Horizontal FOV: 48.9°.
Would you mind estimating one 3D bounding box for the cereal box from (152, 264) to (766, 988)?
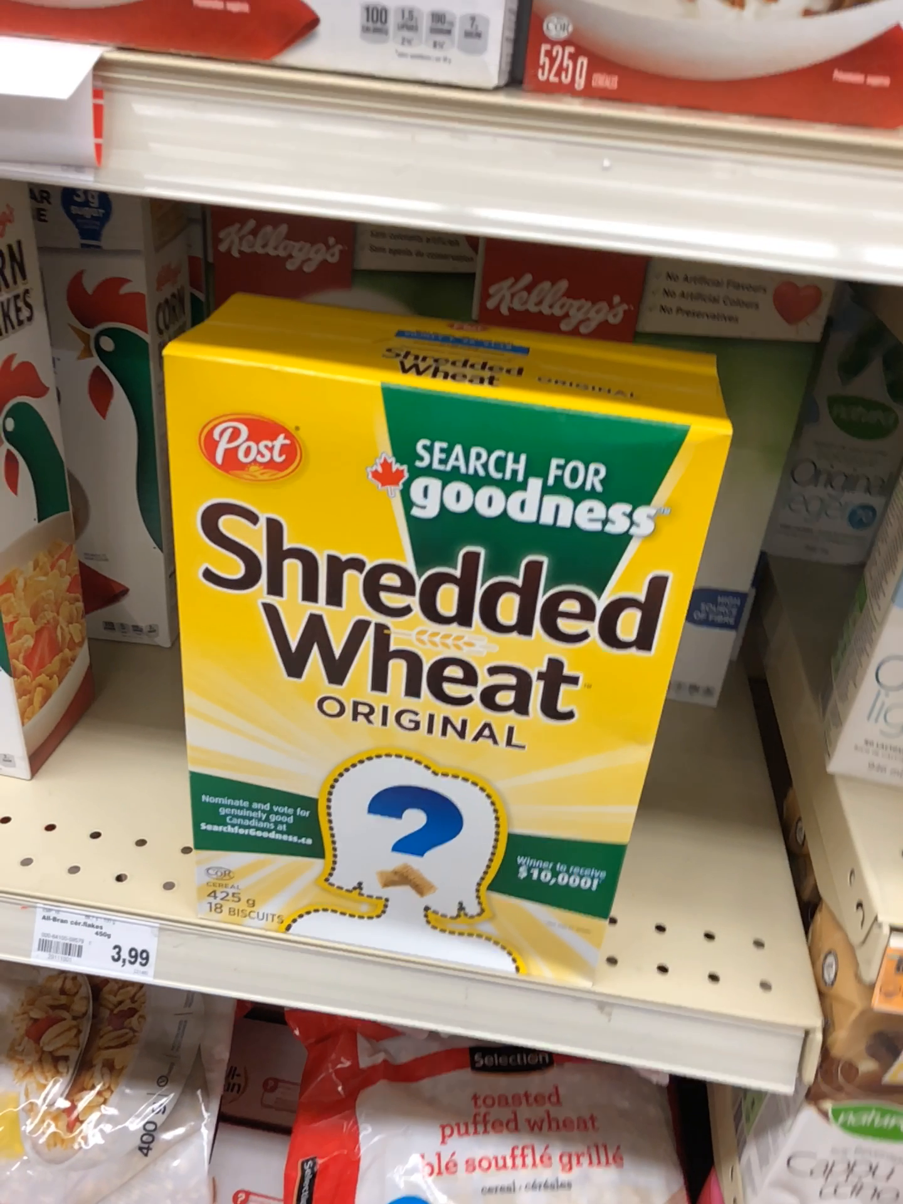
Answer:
[{"bbox_3d":[-0.006,0.022,0.429,0.200,0.288,0.081,8,31,4],"label":"cereal box"}]
